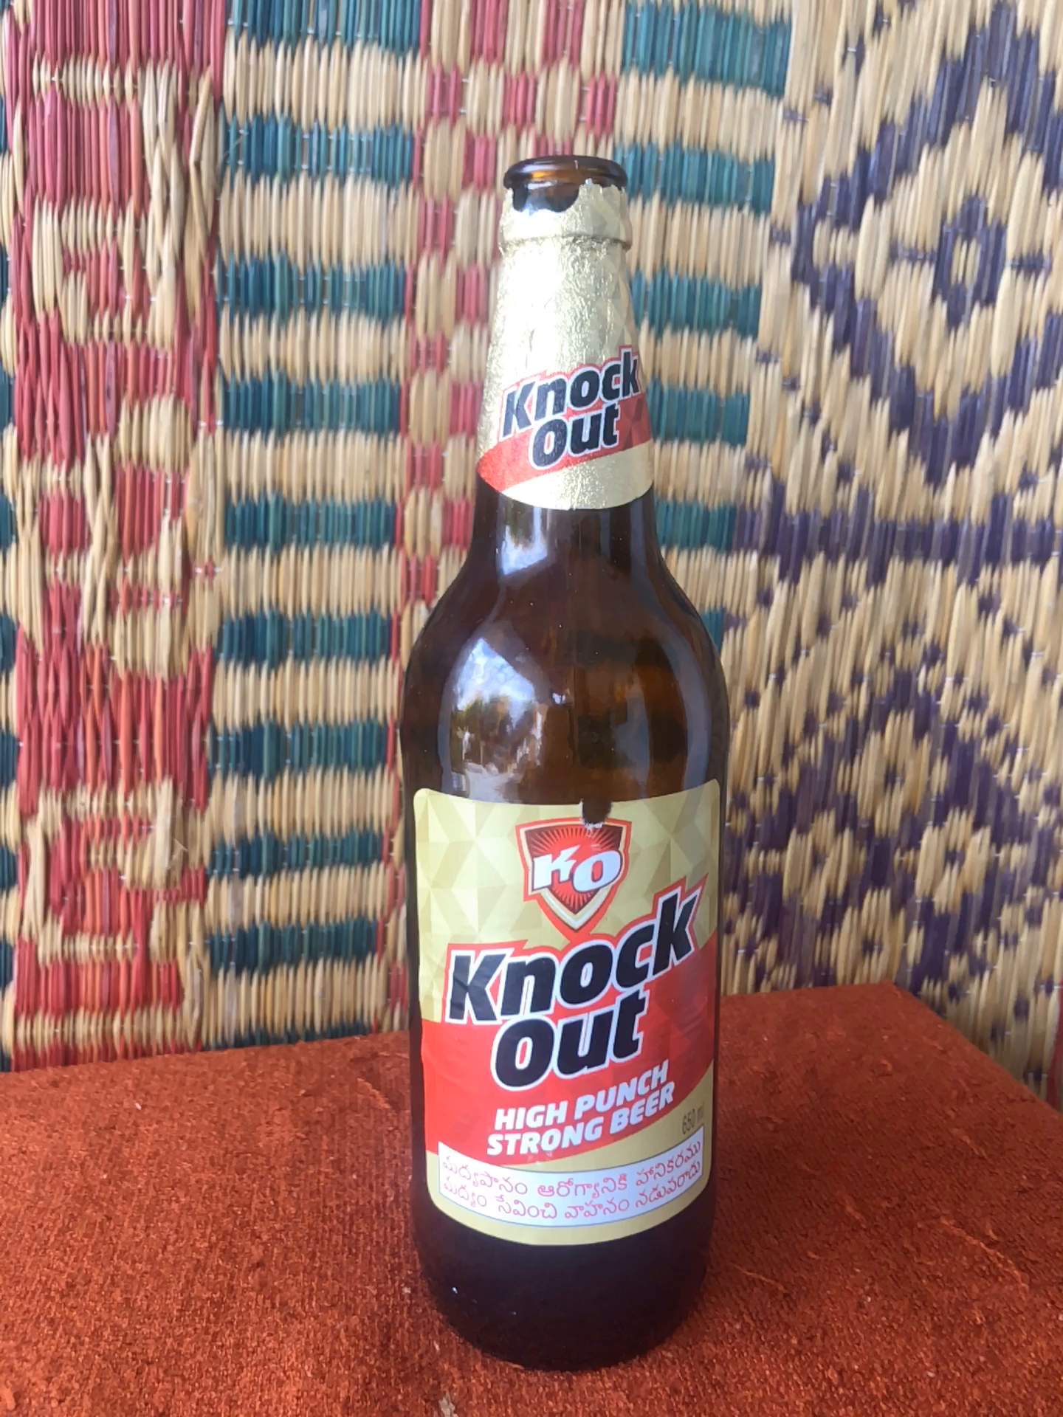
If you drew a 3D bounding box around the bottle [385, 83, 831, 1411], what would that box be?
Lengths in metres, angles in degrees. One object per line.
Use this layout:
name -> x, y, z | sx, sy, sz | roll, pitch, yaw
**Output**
bottle -> 0.006, 0.014, 0.254 | 0.070, 0.249, 0.070 | 2, 14, 0
